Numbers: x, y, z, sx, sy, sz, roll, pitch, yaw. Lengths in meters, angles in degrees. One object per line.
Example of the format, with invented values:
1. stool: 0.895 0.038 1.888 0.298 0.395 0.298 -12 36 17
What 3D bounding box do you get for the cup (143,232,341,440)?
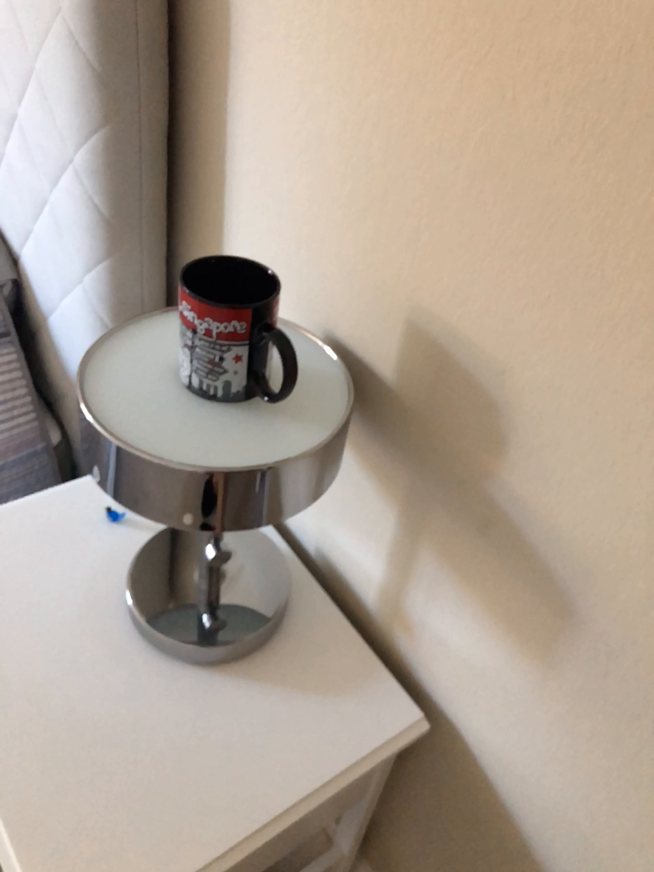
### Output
1. cup: -0.074 -0.086 0.604 0.130 0.100 0.090 35 46 27
